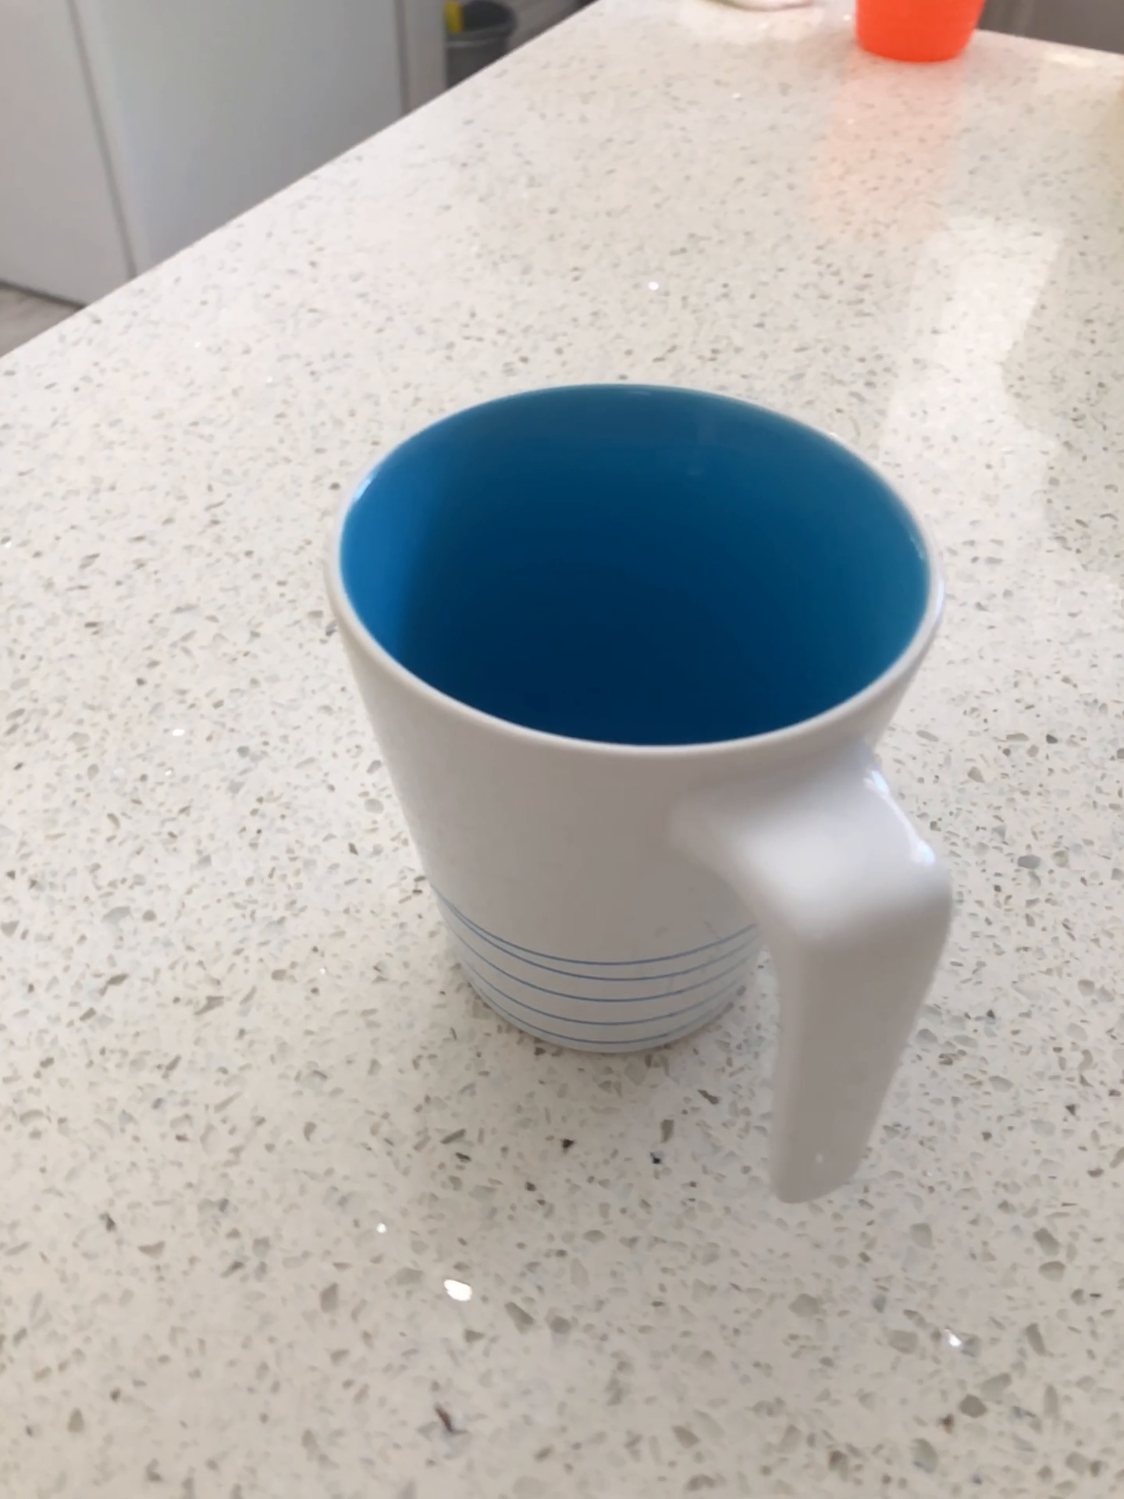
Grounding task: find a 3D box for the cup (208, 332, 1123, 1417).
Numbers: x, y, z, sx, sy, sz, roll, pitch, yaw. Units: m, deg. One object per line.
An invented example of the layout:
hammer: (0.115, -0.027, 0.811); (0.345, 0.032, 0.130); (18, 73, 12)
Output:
cup: (0.018, 0.011, 0.195); (0.080, 0.090, 0.120); (-29, 52, -27)
